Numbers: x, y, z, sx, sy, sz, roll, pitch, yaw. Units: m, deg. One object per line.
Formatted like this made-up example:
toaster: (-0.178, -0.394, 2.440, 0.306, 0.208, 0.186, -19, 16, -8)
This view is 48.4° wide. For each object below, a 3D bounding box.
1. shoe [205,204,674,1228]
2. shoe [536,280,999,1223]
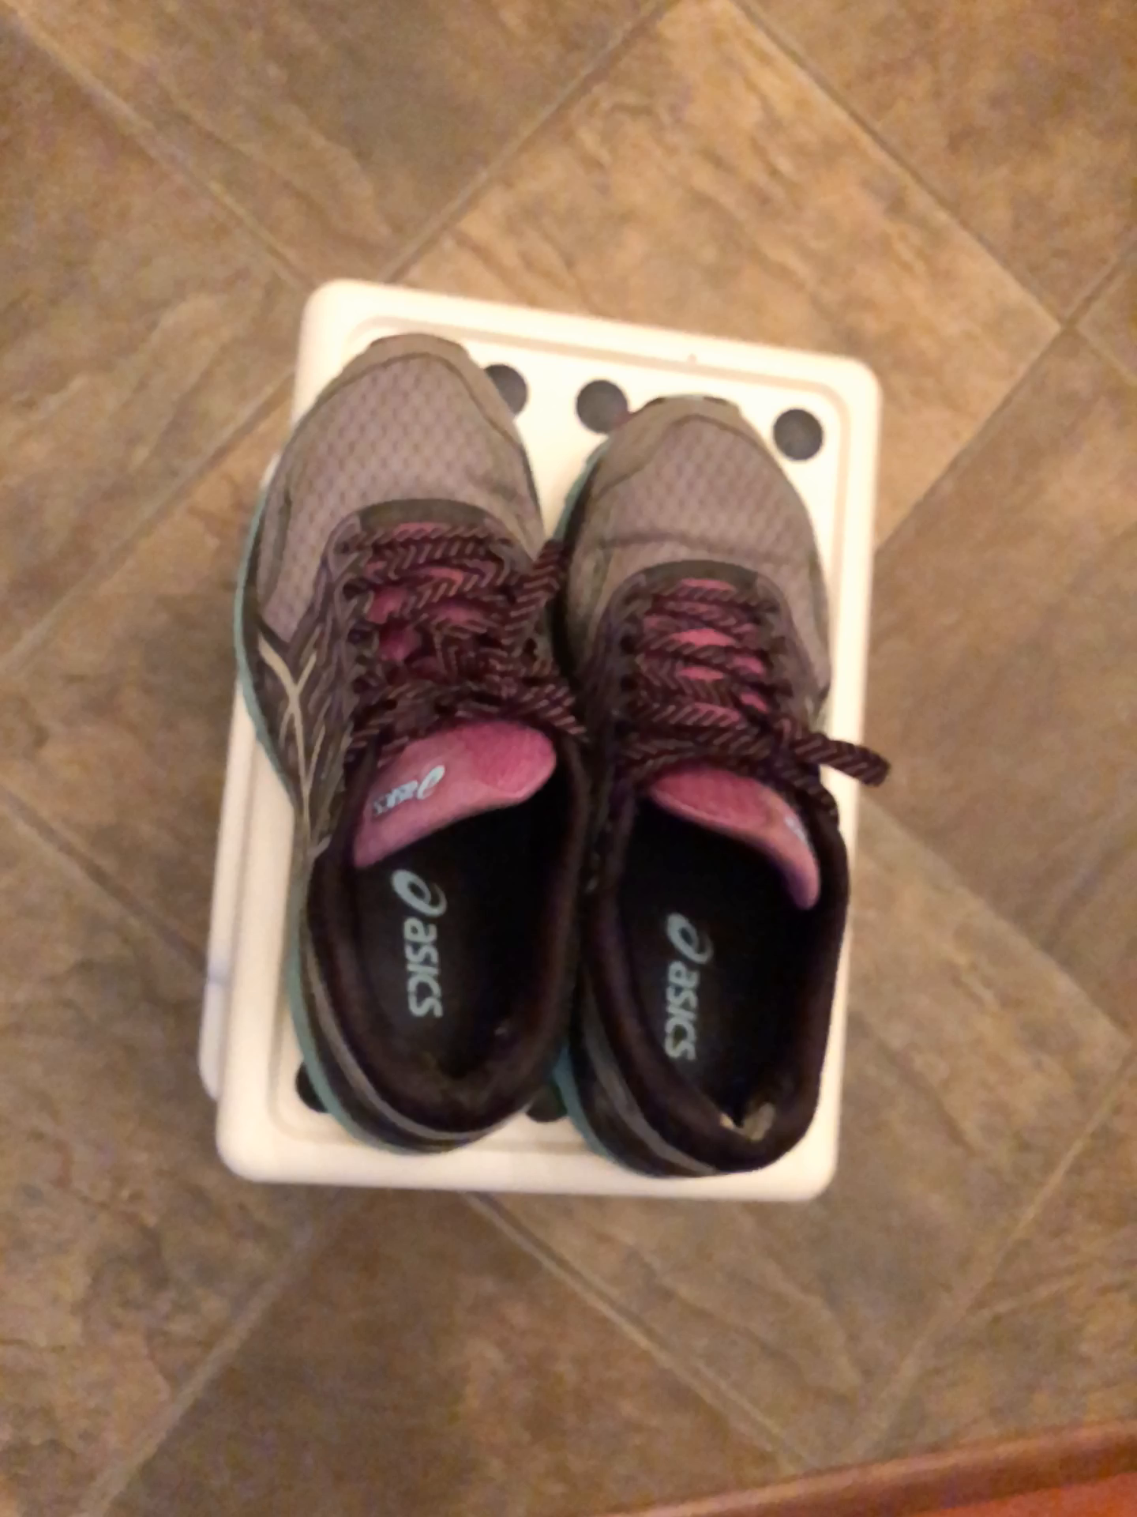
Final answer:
shoe: (-0.044, -0.012, 0.387, 0.110, 0.120, 0.260, -2, 86, -10)
shoe: (0.058, 0.002, 0.415, 0.110, 0.120, 0.260, 3, 85, -9)
